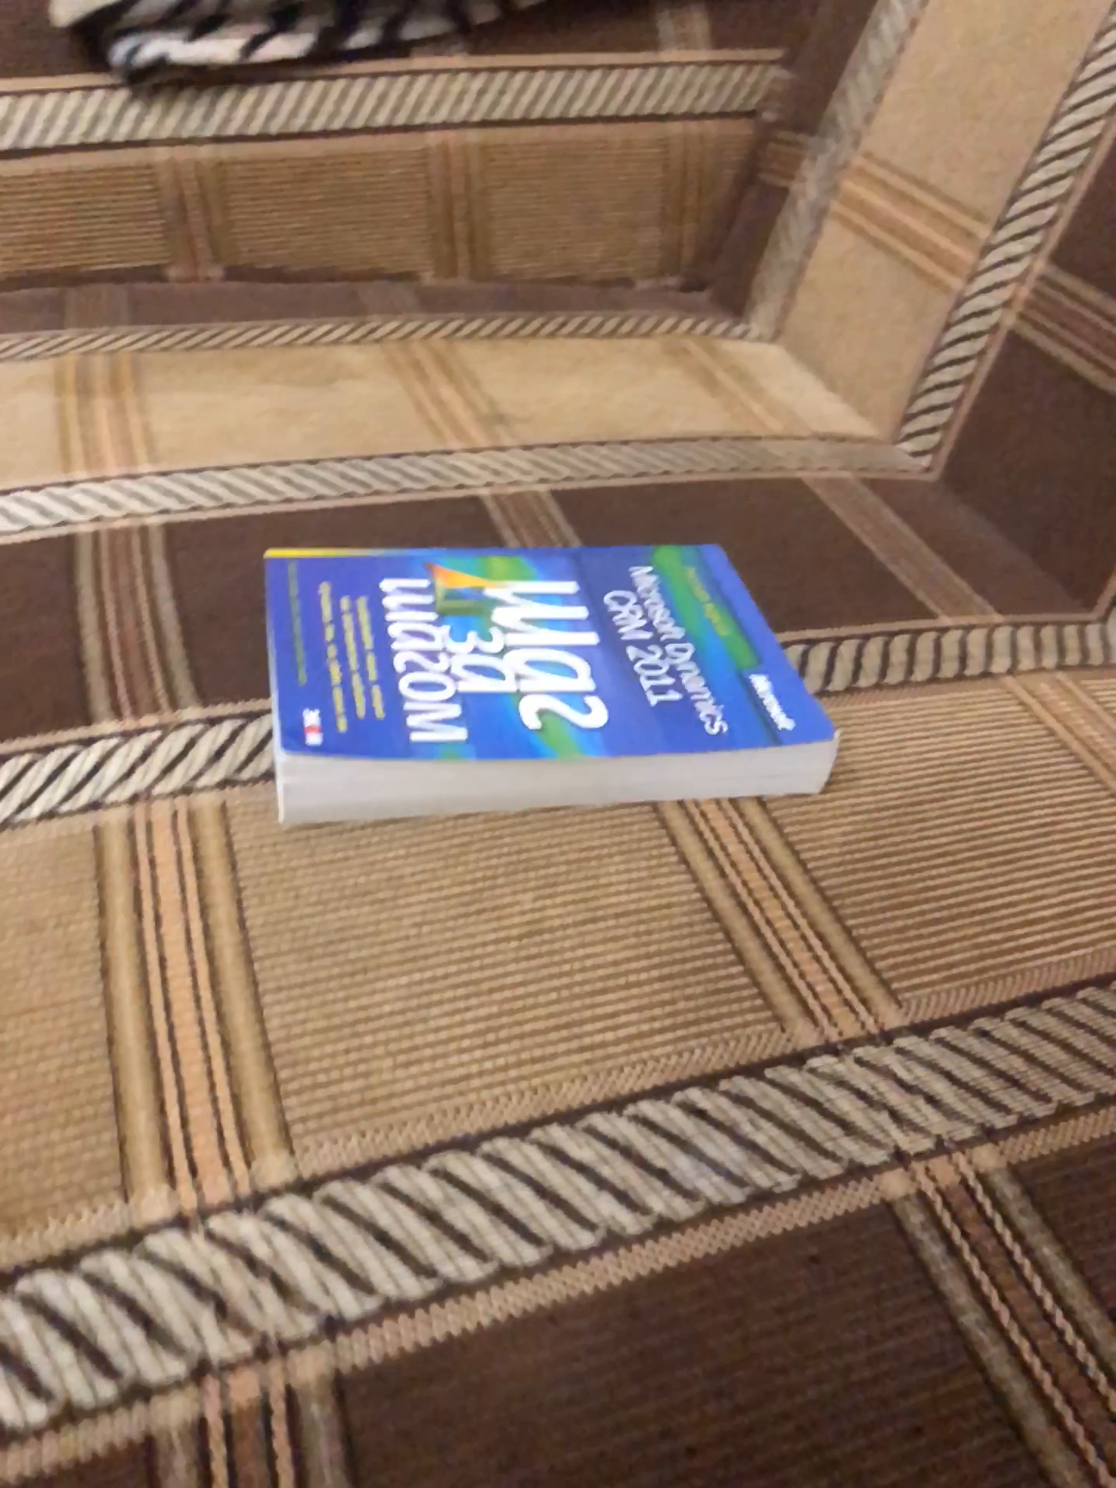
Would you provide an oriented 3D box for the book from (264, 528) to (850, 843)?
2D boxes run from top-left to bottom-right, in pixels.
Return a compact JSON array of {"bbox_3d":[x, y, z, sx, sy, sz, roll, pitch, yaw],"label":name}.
[{"bbox_3d":[-0.010,-0.032,0.483,0.200,0.033,0.151,-3,39,-13],"label":"book"}]
